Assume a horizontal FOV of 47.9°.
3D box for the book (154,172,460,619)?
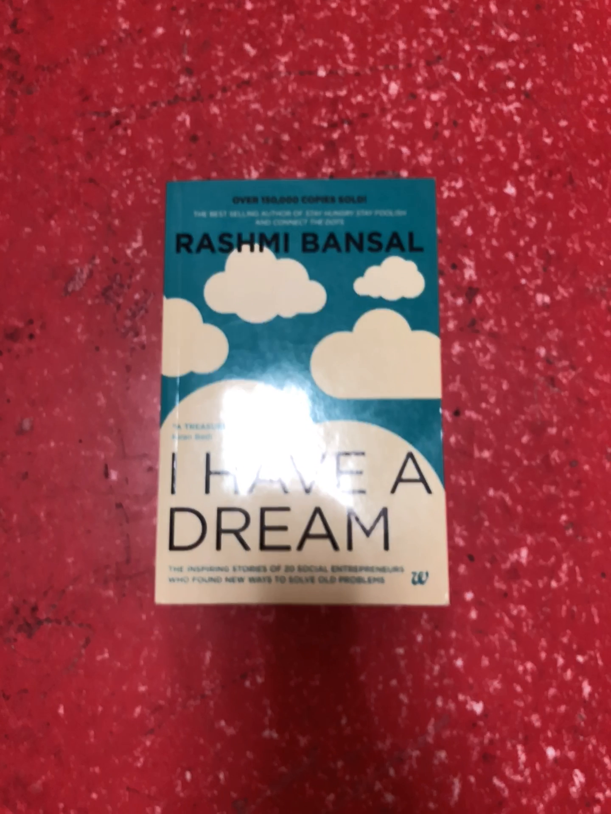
[{"bbox_3d":[0.000,-0.007,0.321,0.130,0.030,0.200,-1,82,1],"label":"book"}]
